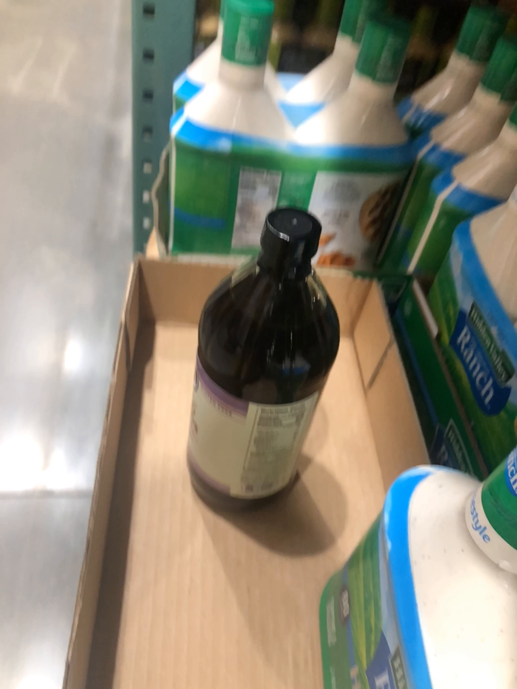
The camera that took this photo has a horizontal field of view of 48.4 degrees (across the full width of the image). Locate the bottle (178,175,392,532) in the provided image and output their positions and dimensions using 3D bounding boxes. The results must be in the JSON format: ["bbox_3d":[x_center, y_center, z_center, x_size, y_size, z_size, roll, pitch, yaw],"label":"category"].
[{"bbox_3d":[0.006,0.022,0.386,0.090,0.229,0.101,10,46,-3],"label":"bottle"}]
